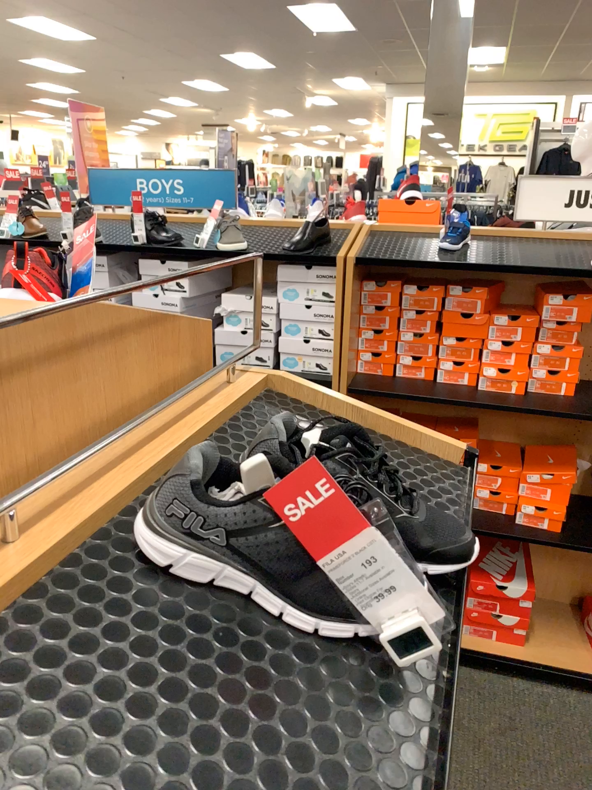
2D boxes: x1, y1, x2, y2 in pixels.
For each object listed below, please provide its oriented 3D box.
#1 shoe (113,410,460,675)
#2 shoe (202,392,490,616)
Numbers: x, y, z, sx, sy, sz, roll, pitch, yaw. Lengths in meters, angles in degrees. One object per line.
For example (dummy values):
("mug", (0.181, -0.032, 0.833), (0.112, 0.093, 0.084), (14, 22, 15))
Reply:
("shoe", (-0.006, 0.114, 0.495), (0.244, 0.090, 0.100), (22, 20, 0))
("shoe", (0.049, 0.100, 0.584), (0.244, 0.089, 0.101), (21, 31, 3))
